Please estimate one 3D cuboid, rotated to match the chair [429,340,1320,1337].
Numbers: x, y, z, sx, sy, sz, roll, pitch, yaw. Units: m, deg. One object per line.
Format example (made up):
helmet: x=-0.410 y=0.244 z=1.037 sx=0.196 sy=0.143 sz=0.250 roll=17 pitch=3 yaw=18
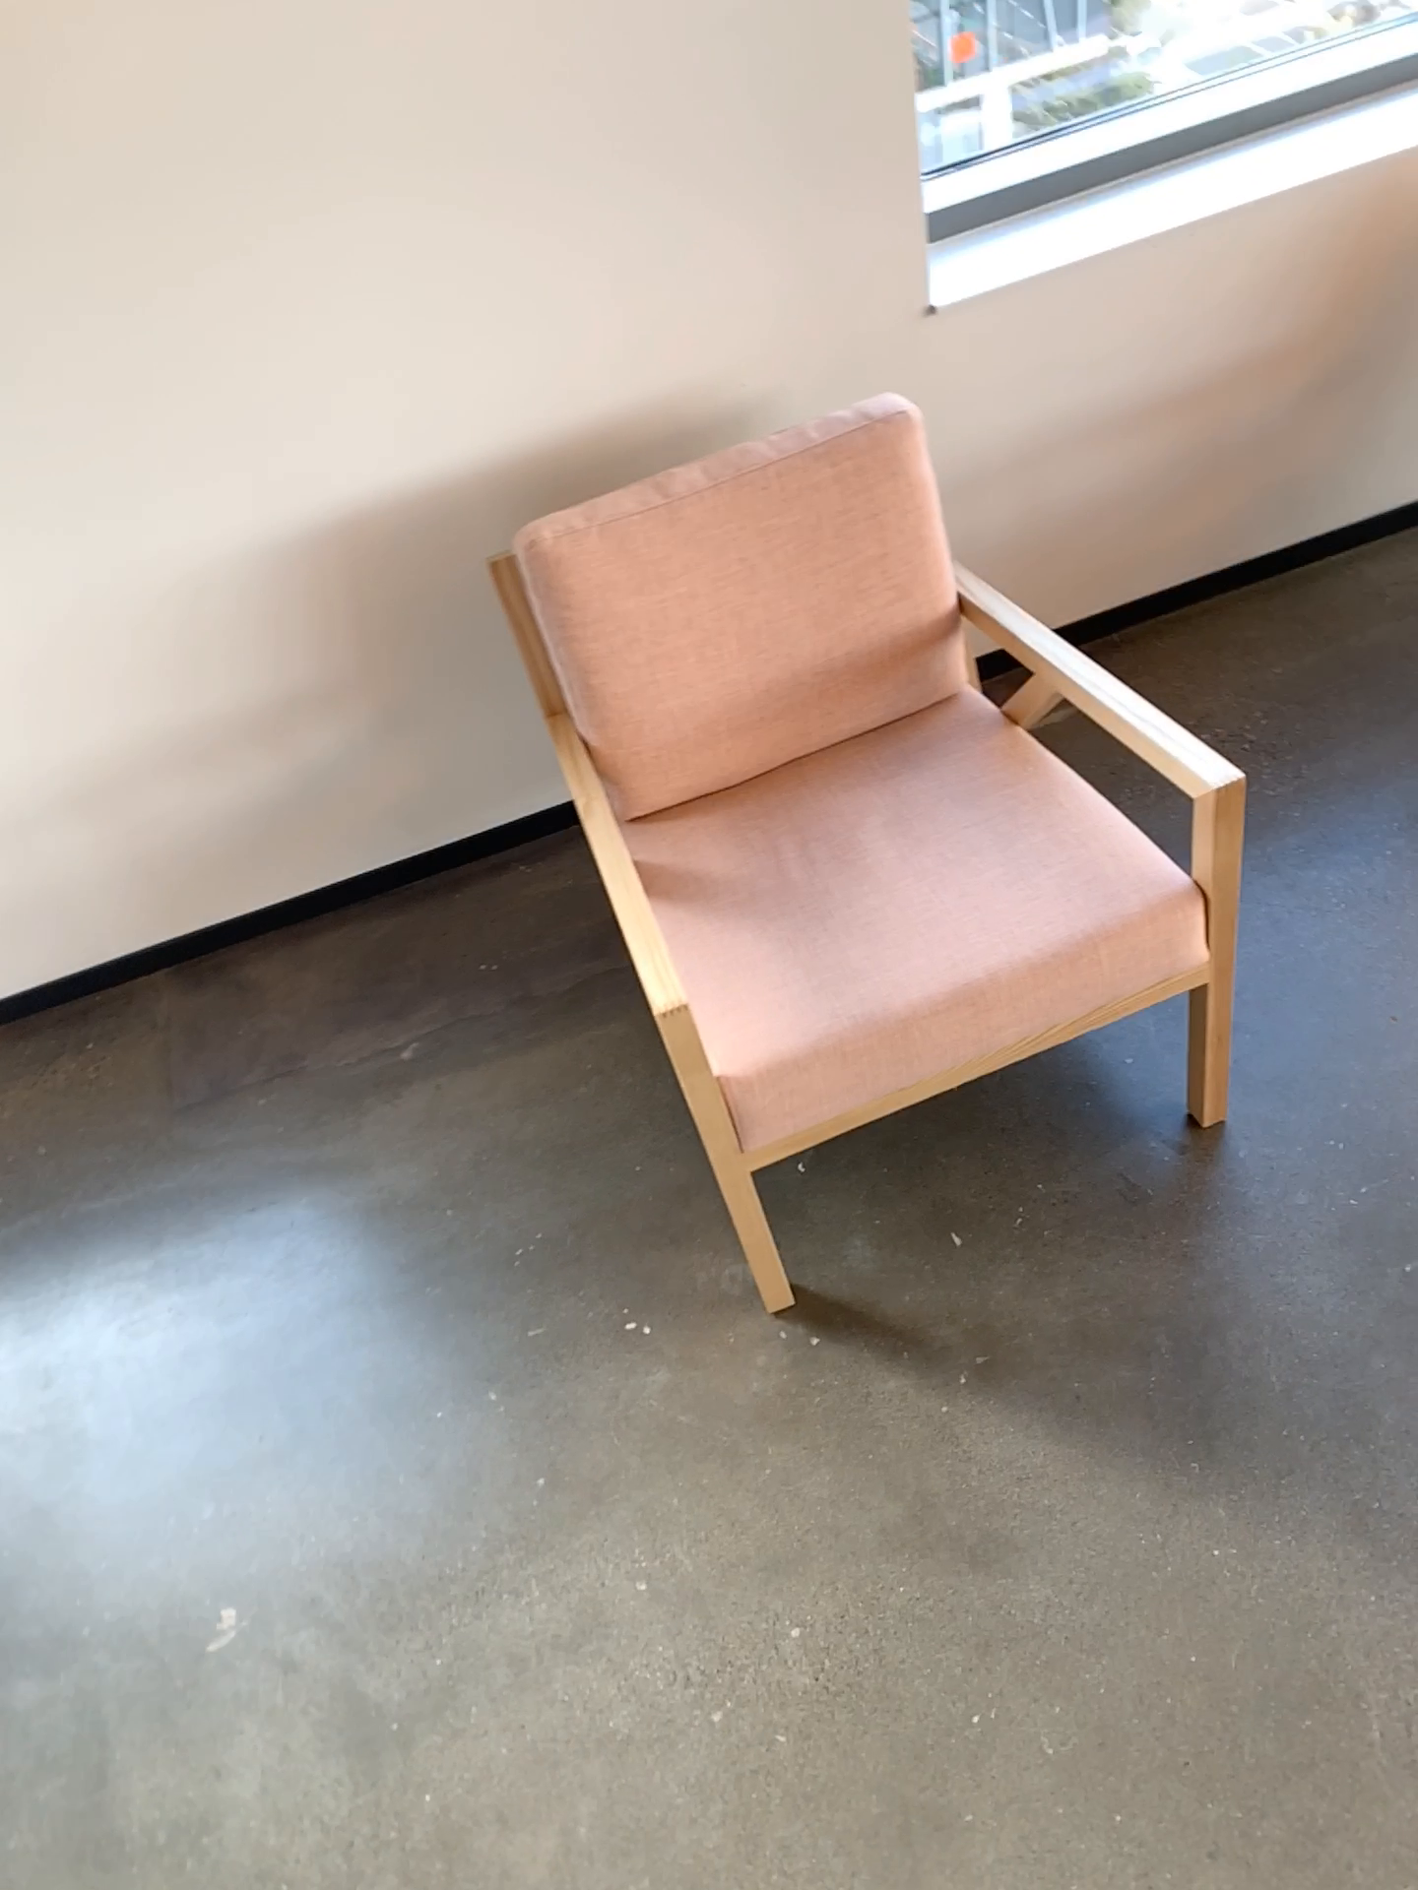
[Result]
chair: x=0.184 y=-0.135 z=1.874 sx=0.740 sy=0.795 sz=0.775 roll=-20 pitch=48 yaw=-4
